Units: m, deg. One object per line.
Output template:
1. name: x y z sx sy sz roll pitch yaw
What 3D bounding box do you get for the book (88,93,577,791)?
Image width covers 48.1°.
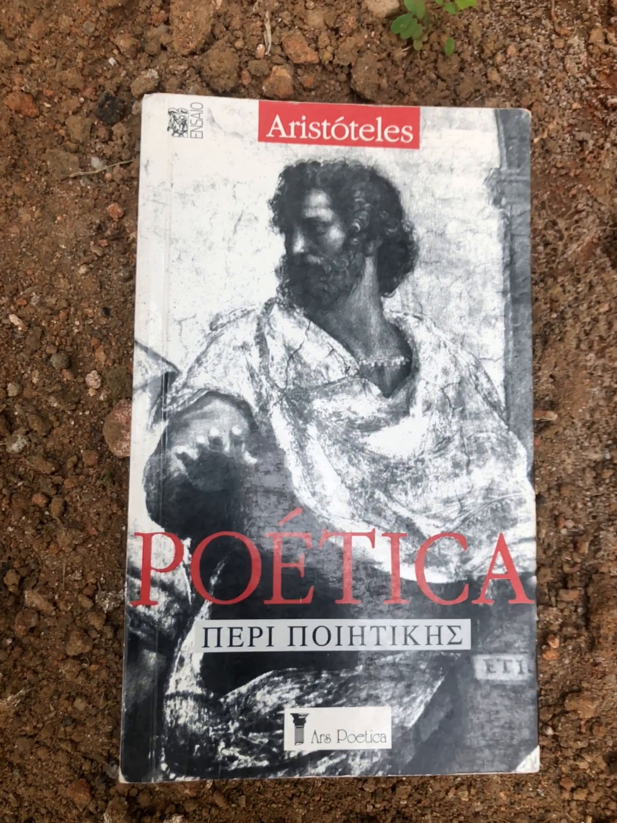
1. book: 0.008 0.006 0.198 0.130 0.015 0.189 1 86 -2
